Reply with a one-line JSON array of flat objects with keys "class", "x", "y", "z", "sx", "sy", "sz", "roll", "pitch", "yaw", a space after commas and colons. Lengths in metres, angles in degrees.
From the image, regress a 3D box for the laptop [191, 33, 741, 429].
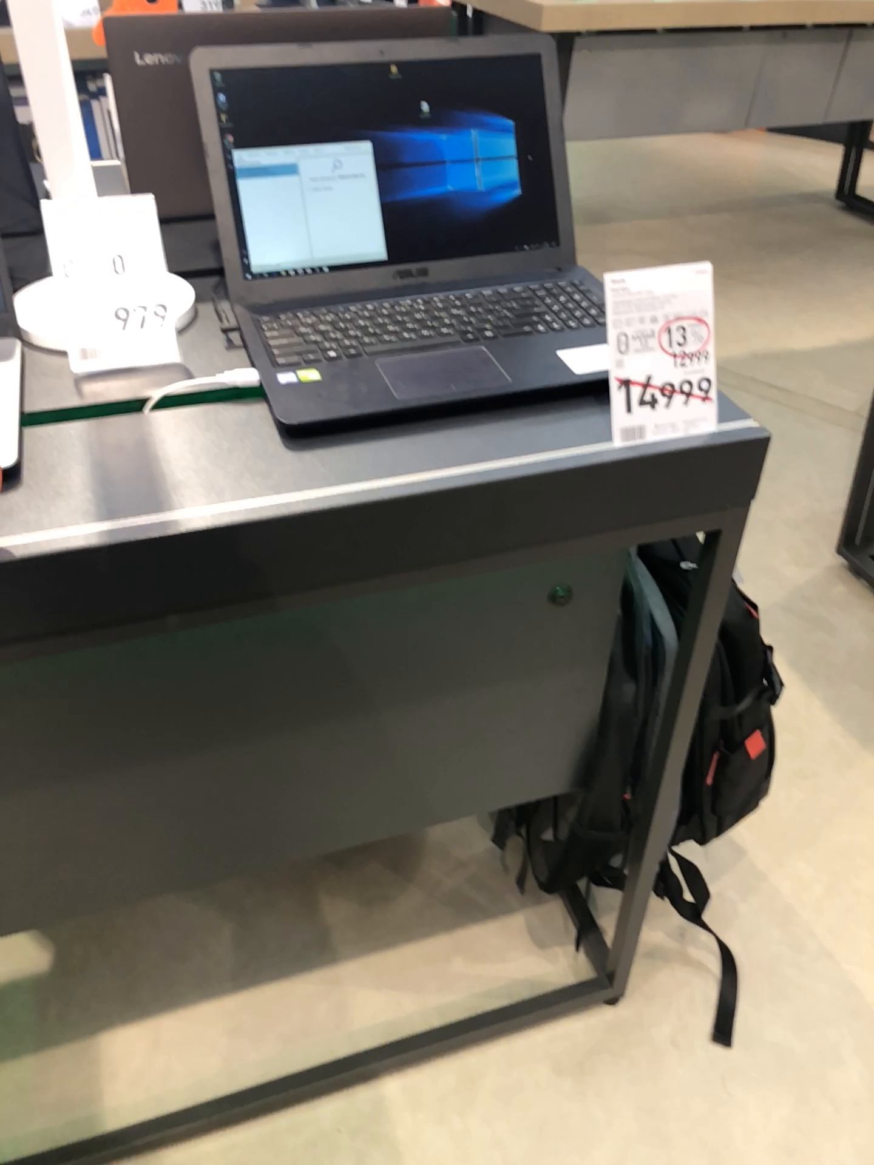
[{"class": "laptop", "x": -0.001, "y": -0.357, "z": 0.908, "sx": 0.380, "sy": 0.209, "sz": 0.372, "roll": -11, "pitch": 40, "yaw": -14}]
